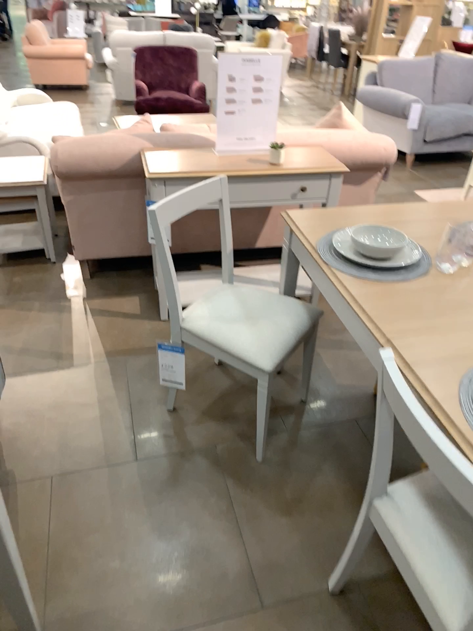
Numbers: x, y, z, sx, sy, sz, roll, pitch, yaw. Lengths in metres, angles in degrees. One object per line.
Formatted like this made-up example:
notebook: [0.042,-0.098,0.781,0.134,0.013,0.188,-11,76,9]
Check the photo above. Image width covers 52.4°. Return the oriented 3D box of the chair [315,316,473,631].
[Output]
chair: [0.561,0.493,1.063,0.535,0.817,0.434,-7,35,-15]

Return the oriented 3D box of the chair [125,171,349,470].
chair: [-0.004,0.001,1.718,0.536,0.817,0.464,21,38,25]
